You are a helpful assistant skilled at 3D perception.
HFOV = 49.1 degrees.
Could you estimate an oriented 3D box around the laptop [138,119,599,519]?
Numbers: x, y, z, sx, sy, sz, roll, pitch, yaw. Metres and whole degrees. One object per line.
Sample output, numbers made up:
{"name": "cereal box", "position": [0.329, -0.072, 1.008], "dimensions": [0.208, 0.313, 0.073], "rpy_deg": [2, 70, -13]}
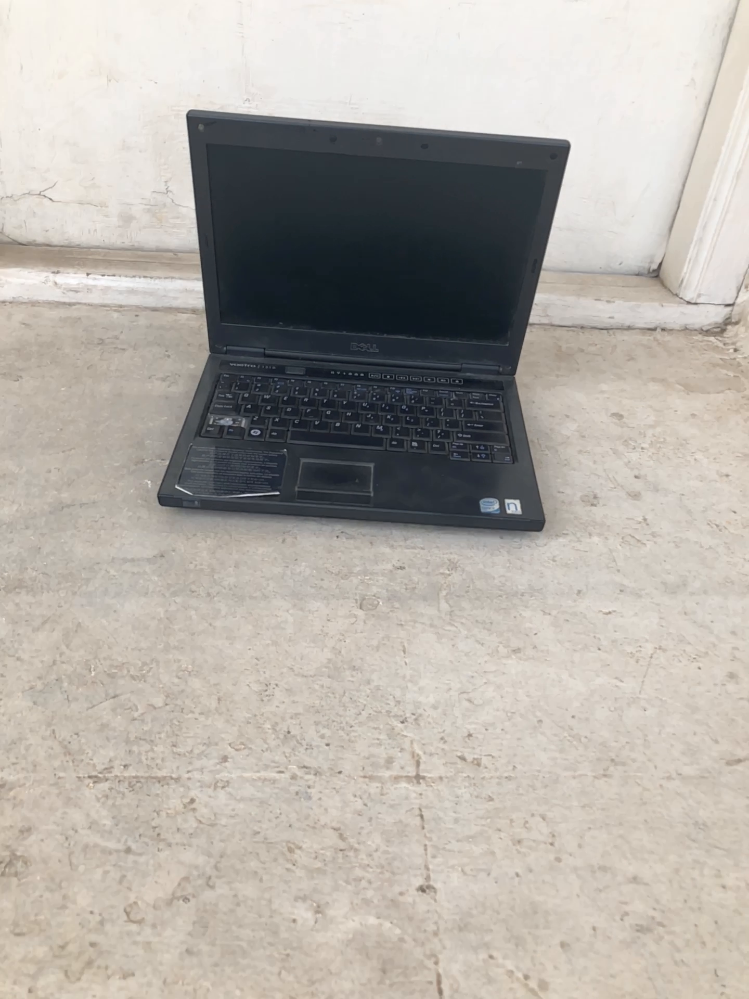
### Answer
{"name": "laptop", "position": [-0.008, -0.150, 0.667], "dimensions": [0.292, 0.218, 0.215], "rpy_deg": [4, 39, -1]}
